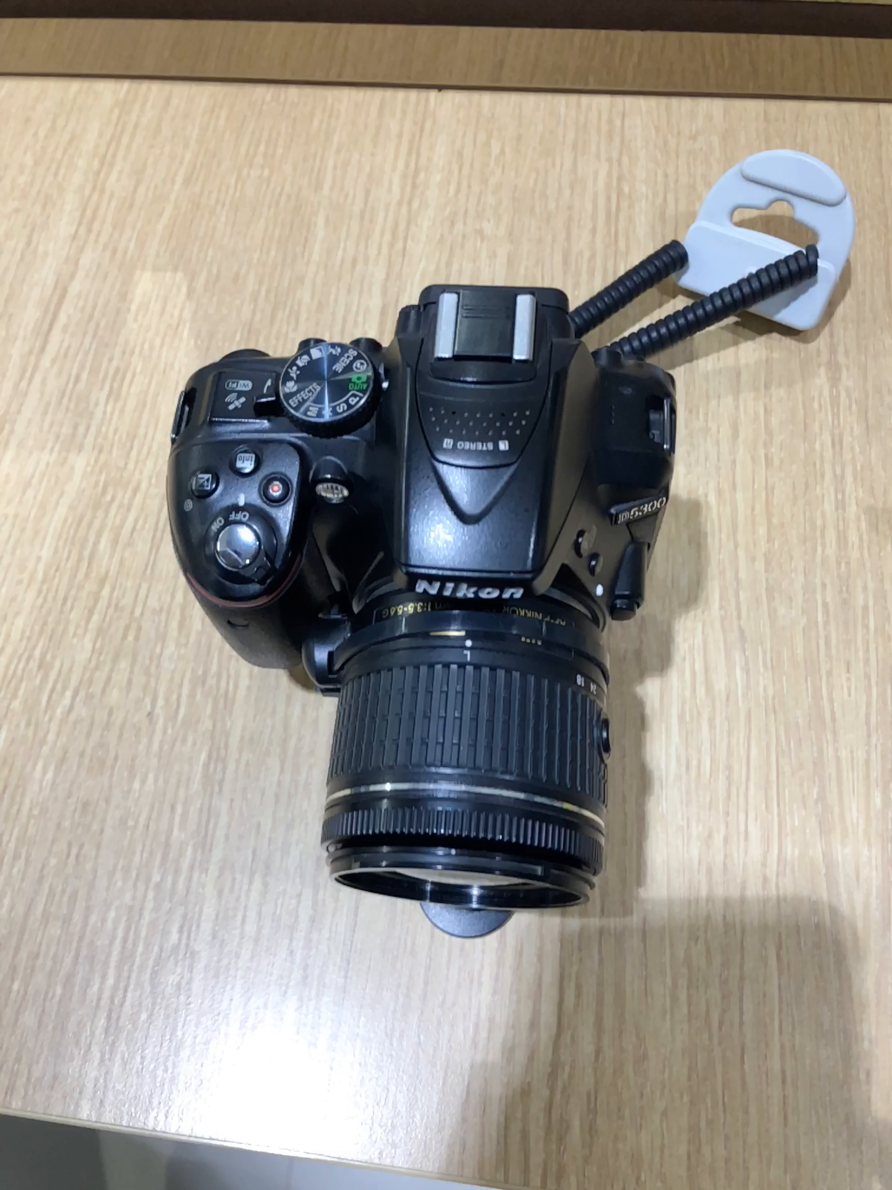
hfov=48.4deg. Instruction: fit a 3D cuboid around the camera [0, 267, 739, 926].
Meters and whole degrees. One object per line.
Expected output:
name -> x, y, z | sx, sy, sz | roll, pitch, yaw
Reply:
camera -> -0.008, 0.006, 0.222 | 0.120, 0.103, 0.110 | 2, 66, 6
